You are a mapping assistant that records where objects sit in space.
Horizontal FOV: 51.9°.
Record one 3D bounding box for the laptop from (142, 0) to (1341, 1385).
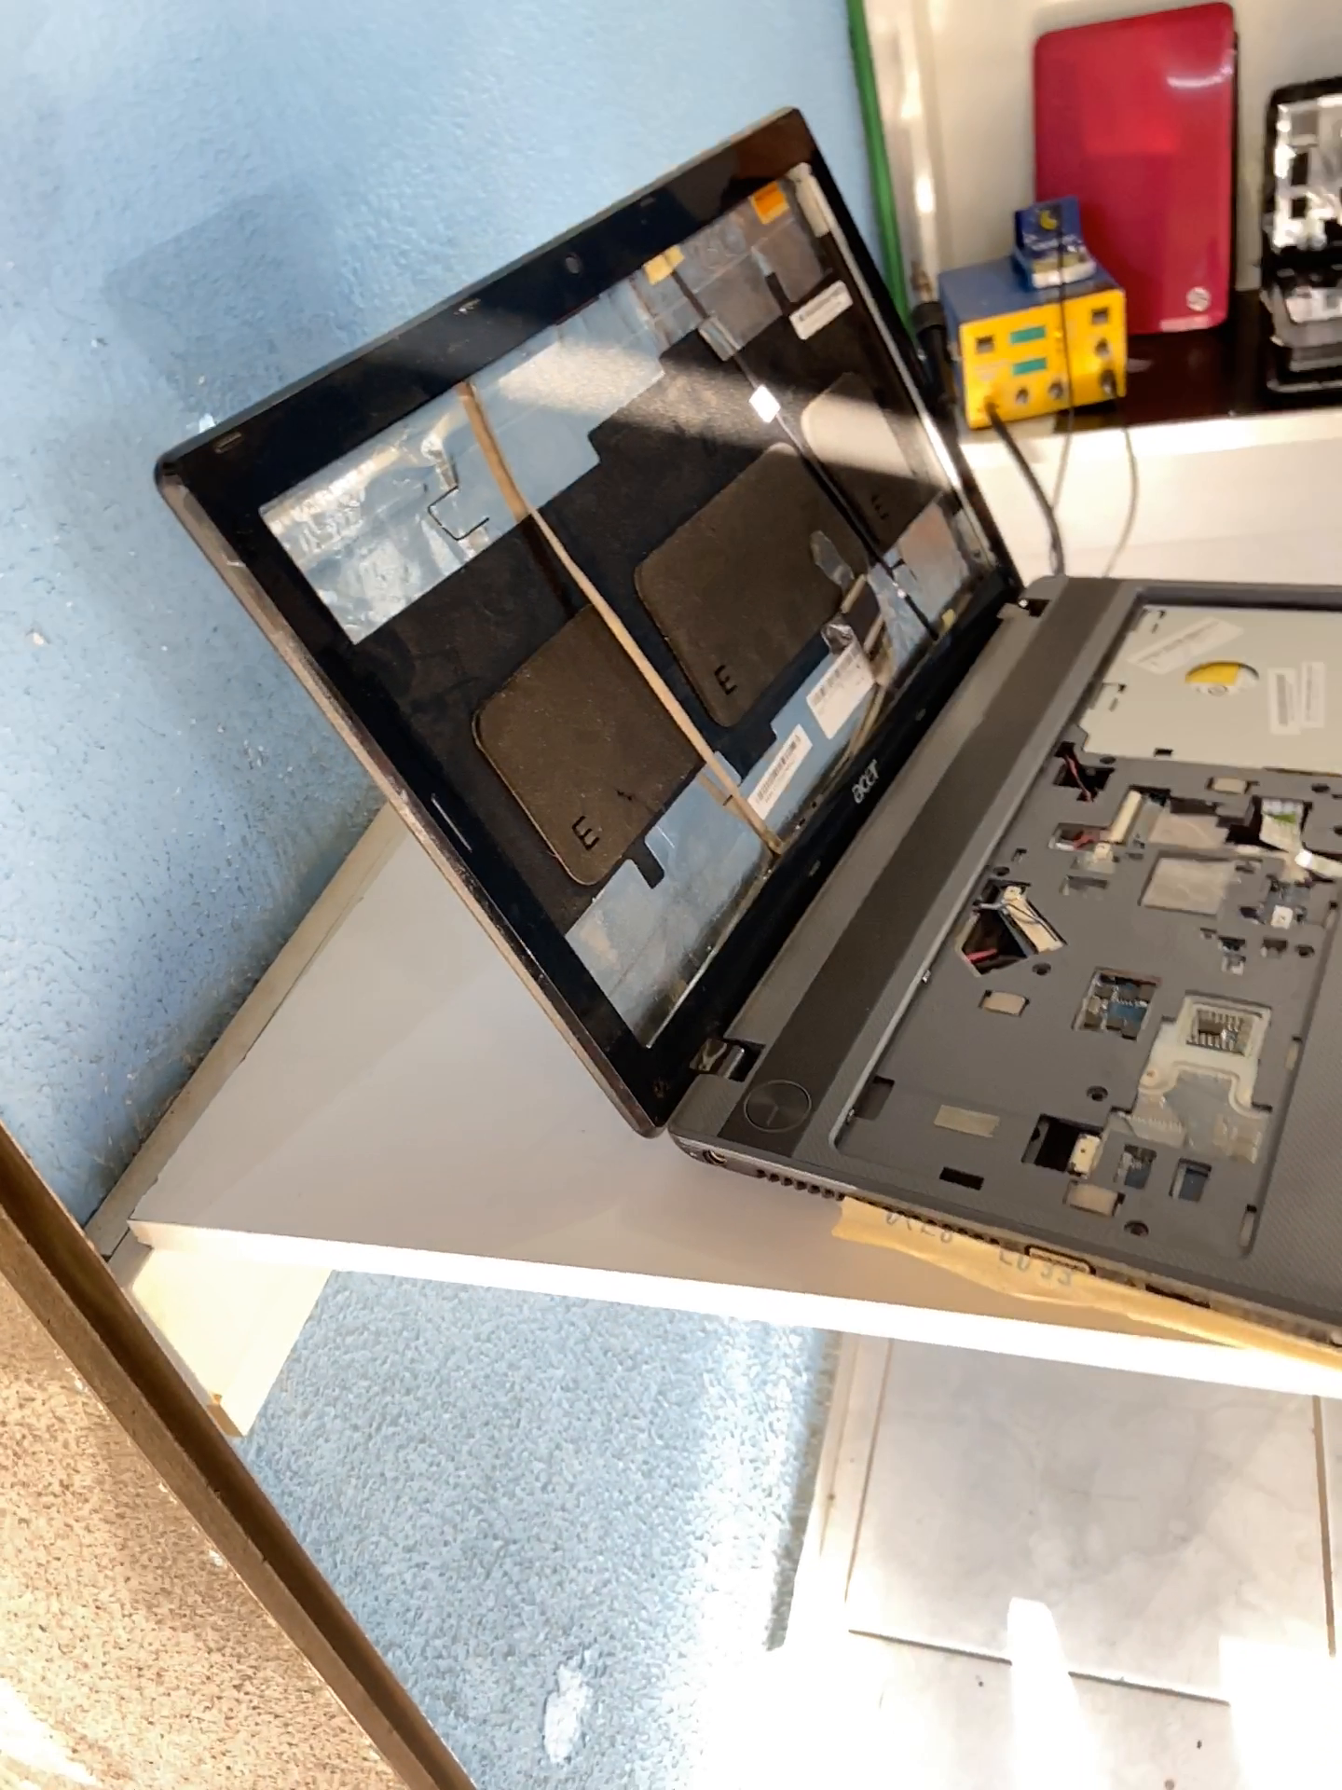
[{"bbox_3d":[0.127,-0.117,0.451,0.349,0.210,0.380,9,42,31],"label":"laptop"}]
